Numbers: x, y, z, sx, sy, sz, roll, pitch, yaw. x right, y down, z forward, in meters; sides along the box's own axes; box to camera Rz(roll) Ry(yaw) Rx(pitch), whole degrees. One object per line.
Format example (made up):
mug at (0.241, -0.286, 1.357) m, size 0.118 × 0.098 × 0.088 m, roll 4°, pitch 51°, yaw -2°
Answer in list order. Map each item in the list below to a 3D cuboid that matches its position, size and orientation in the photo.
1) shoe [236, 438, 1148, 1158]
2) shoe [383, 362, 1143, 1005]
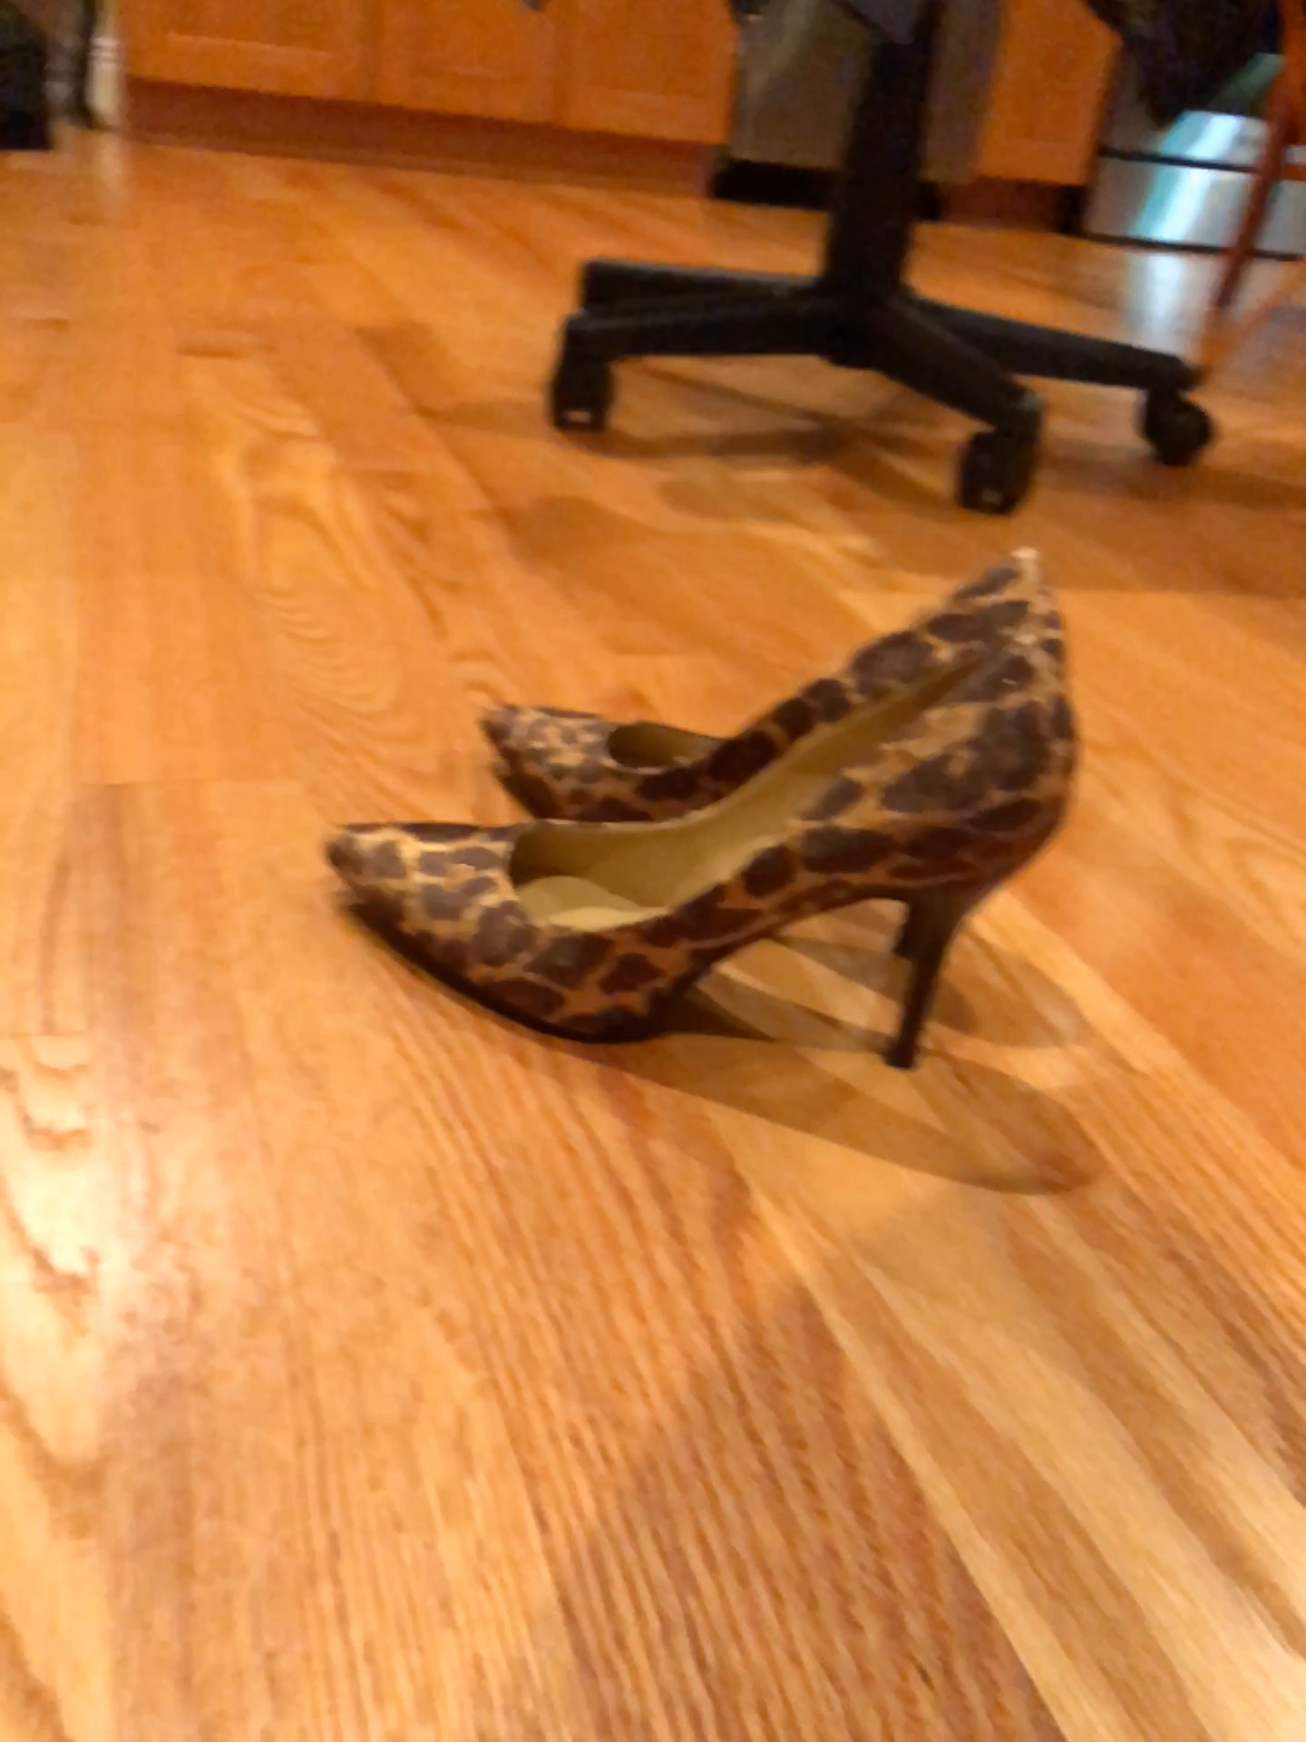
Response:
shoe at (0.005, -0.026, 0.411) m, size 0.227 × 0.136 × 0.077 m, roll 14°, pitch 29°, yaw 11°
shoe at (0.022, -0.073, 0.482) m, size 0.227 × 0.135 × 0.076 m, roll 24°, pitch 32°, yaw 27°
